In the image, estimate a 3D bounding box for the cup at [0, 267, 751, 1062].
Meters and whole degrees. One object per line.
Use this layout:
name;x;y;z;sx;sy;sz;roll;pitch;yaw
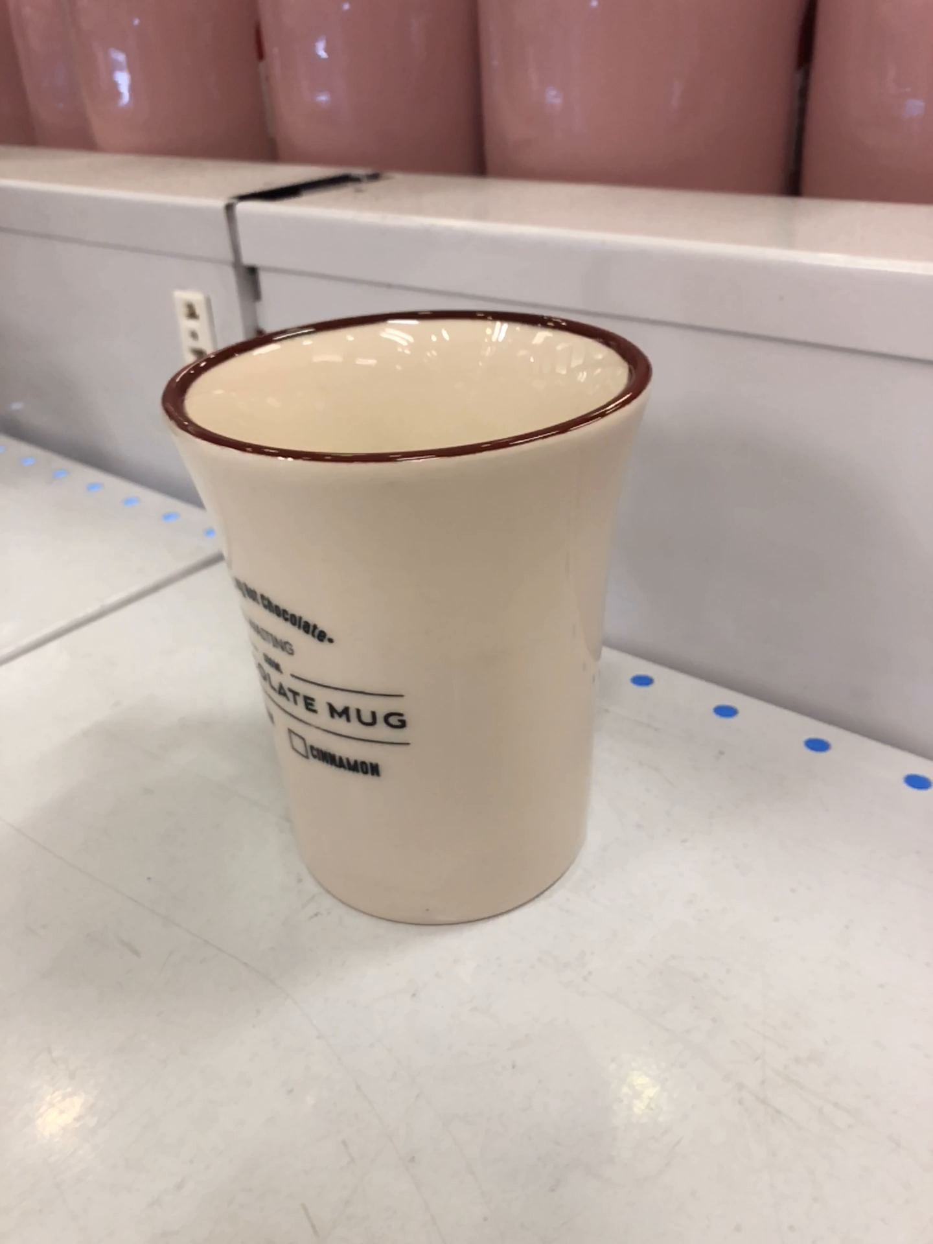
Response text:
cup;-0.020;-0.005;0.226;0.120;0.109;0.090;22;38;37
